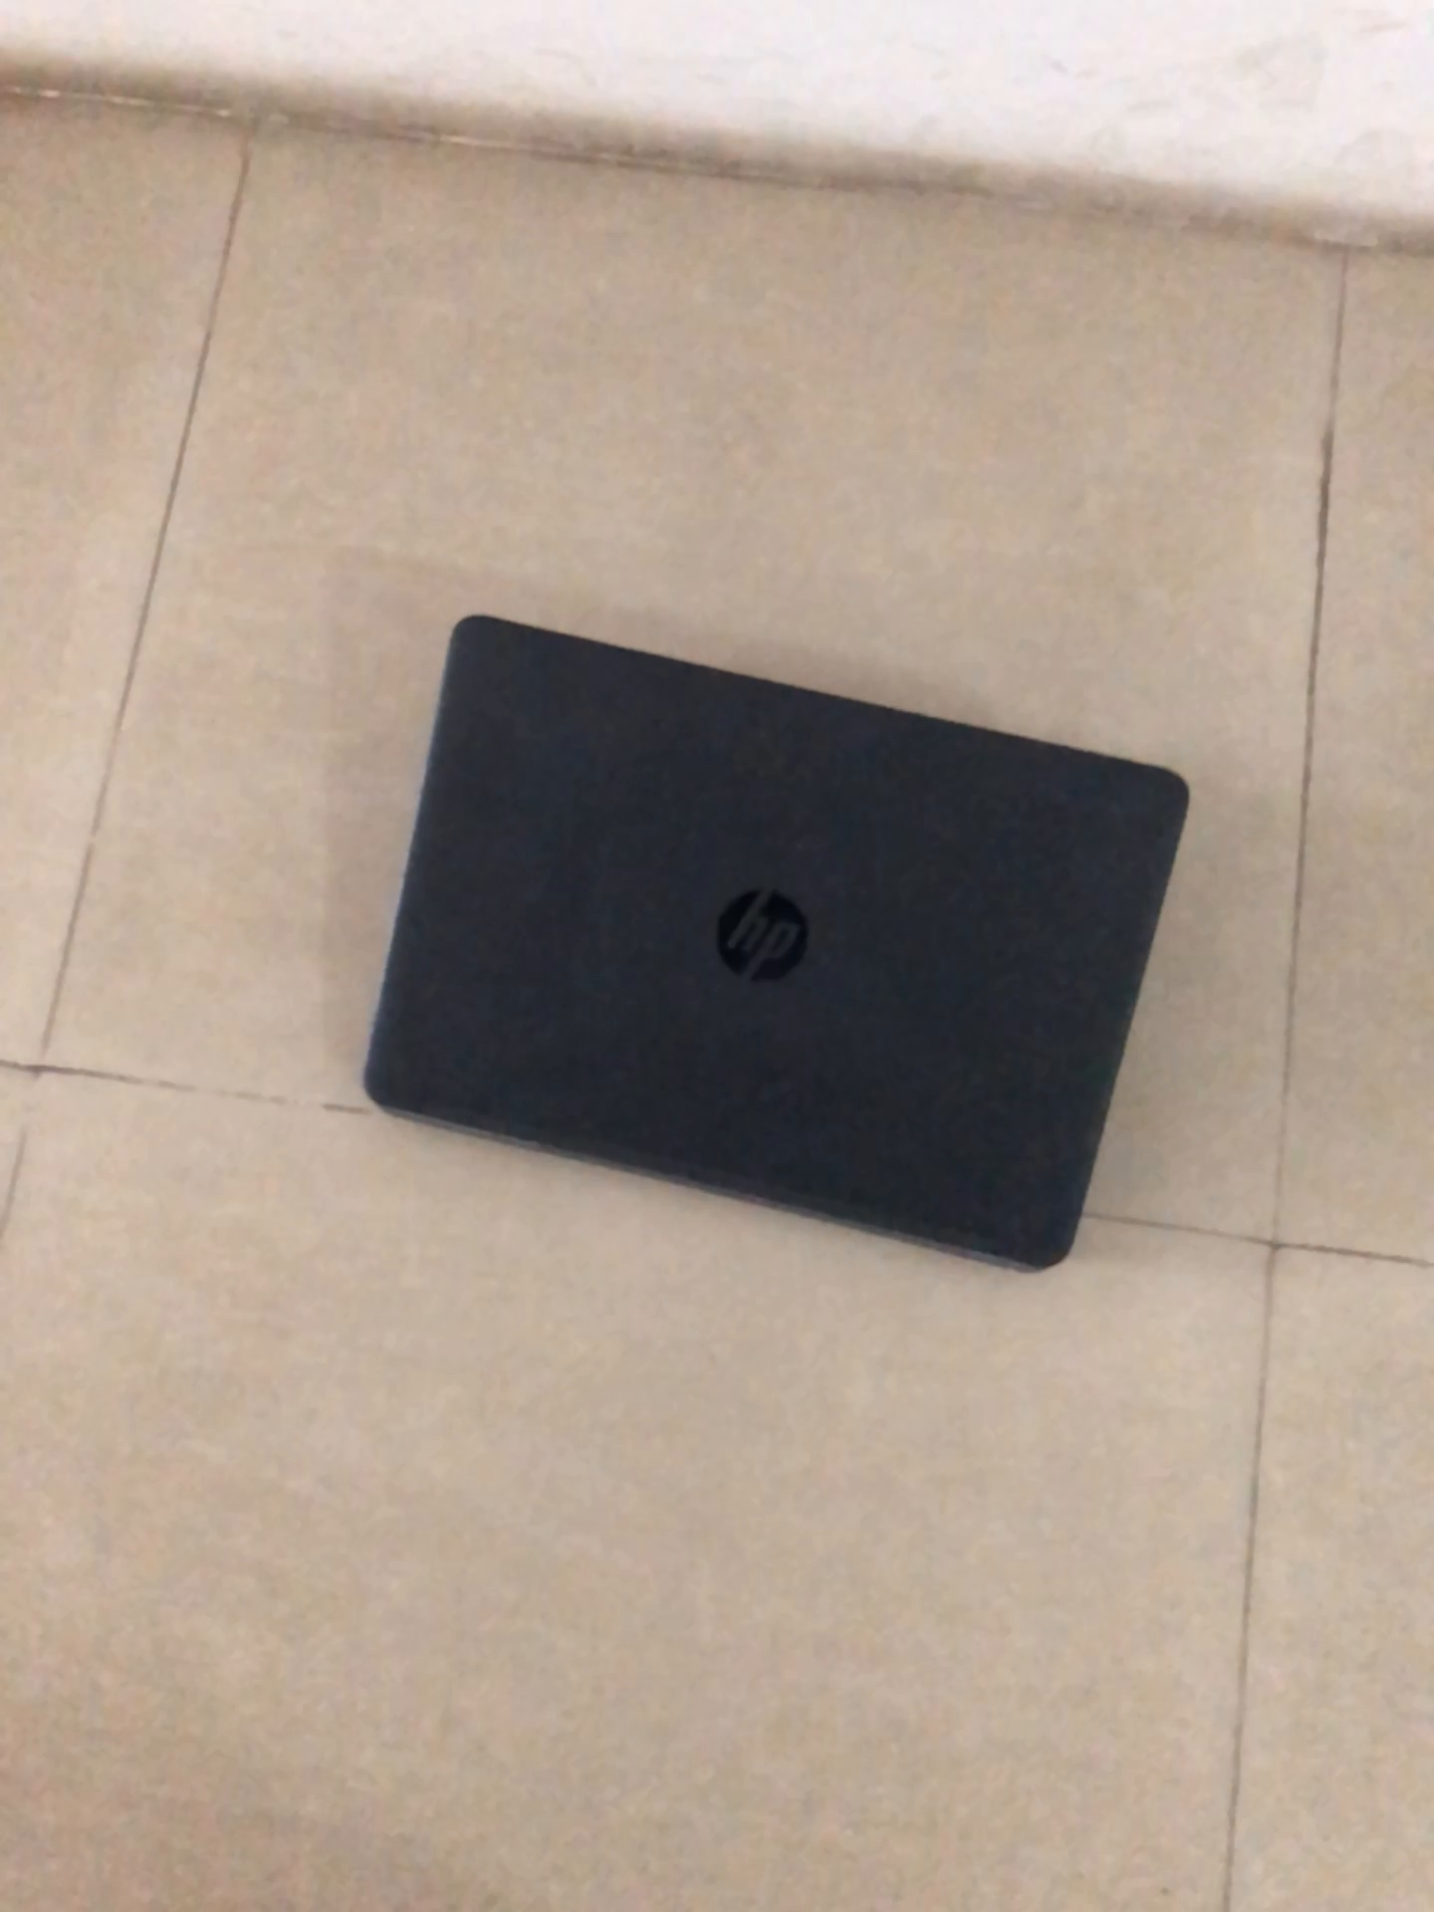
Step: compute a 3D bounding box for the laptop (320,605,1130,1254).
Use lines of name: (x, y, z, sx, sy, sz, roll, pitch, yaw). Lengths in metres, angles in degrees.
laptop: (0.006, -0.008, 0.720, 0.304, 0.085, 0.214, 14, 82, 2)
